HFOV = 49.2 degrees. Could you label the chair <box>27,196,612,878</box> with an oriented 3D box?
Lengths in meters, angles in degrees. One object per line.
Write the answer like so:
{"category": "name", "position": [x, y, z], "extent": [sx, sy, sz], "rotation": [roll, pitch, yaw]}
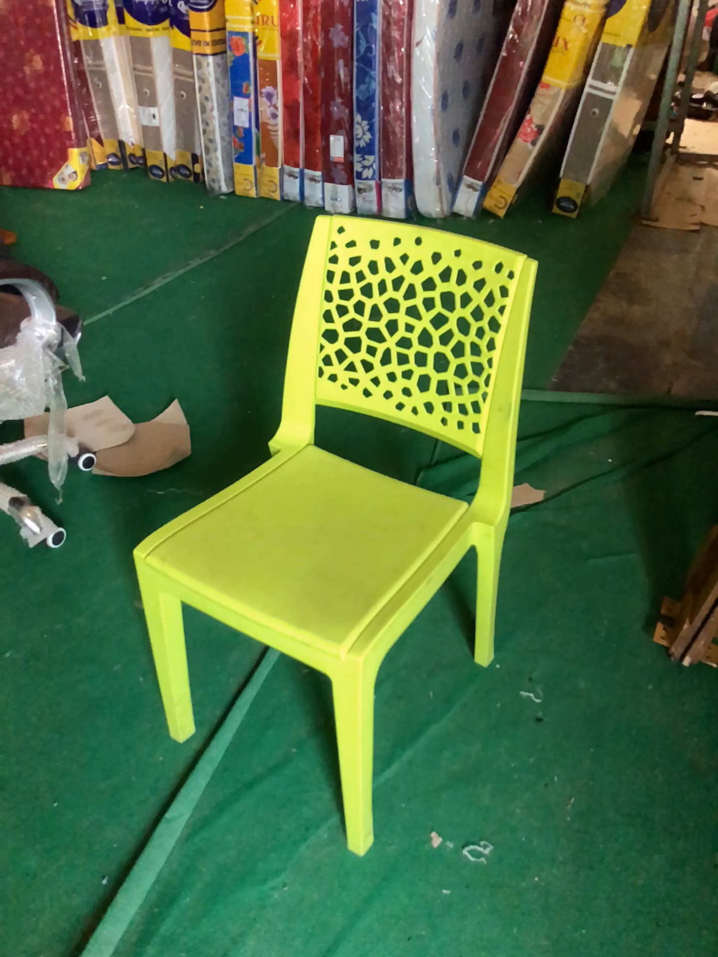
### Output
{"category": "chair", "position": [-0.015, 0.039, 1.296], "extent": [0.530, 0.776, 0.643], "rotation": [20, 39, 28]}
